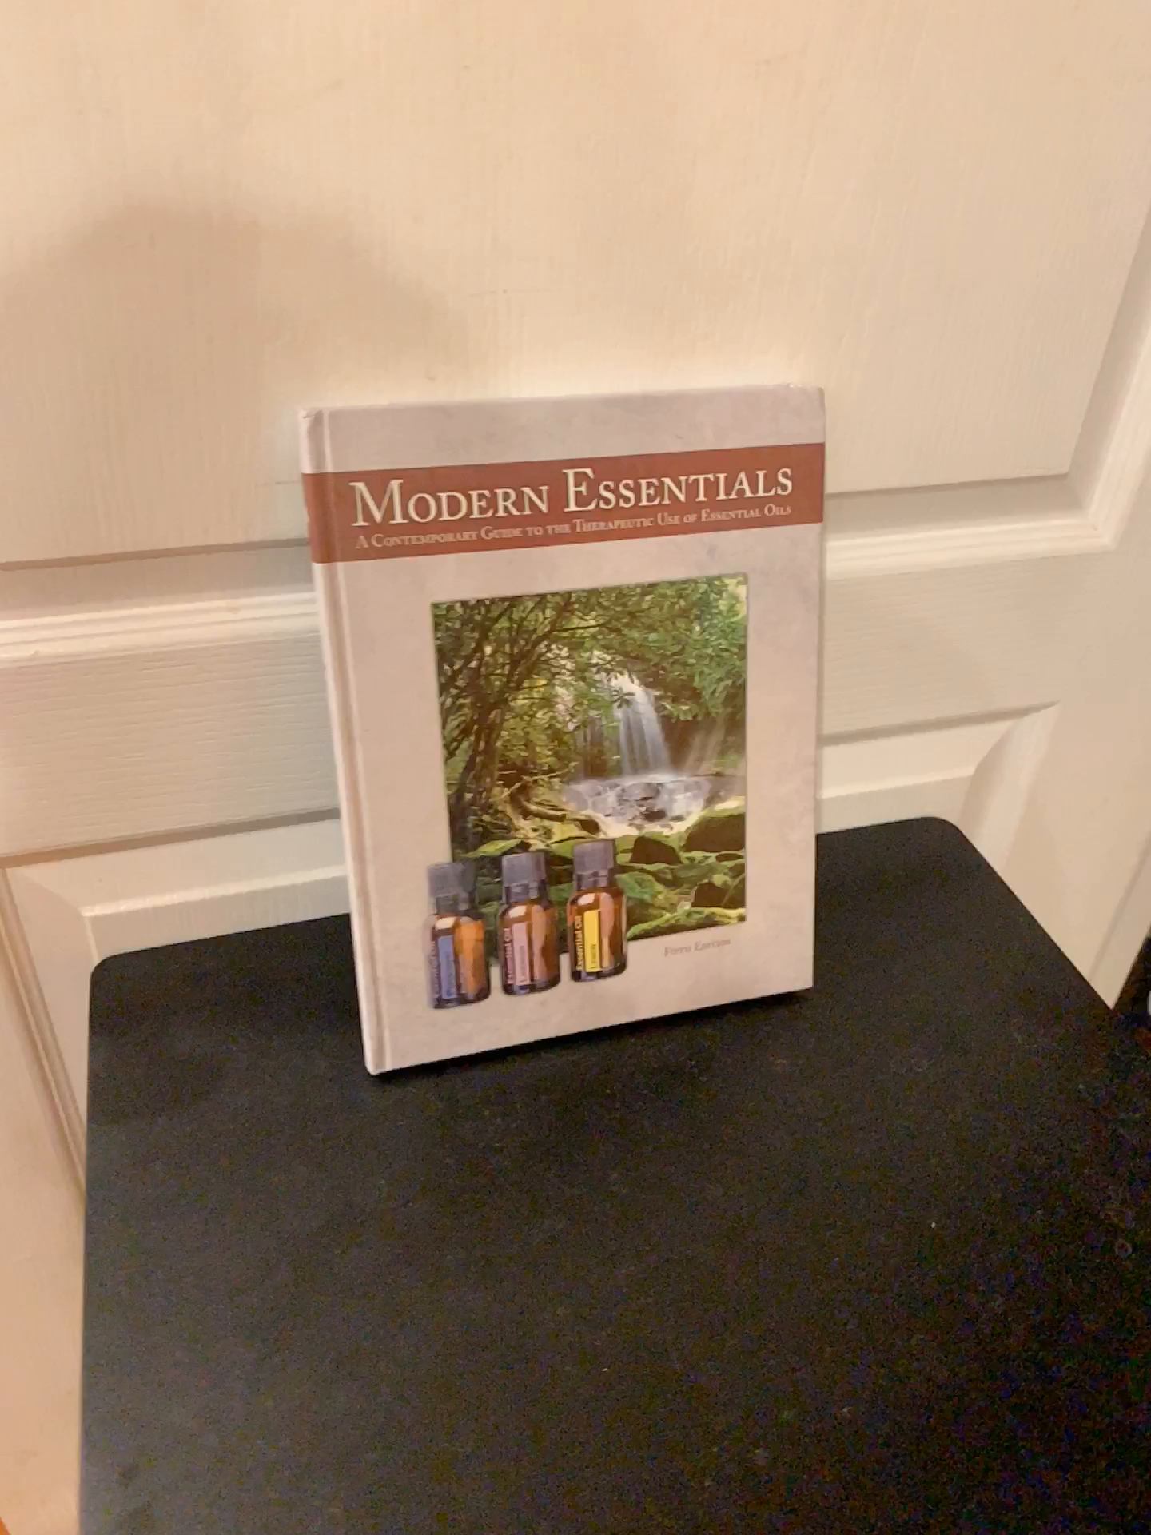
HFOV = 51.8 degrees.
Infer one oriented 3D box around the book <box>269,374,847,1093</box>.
[{"bbox_3d":[0.003,-0.014,0.516,0.230,0.289,0.030,-8,19,-15],"label":"book"}]
